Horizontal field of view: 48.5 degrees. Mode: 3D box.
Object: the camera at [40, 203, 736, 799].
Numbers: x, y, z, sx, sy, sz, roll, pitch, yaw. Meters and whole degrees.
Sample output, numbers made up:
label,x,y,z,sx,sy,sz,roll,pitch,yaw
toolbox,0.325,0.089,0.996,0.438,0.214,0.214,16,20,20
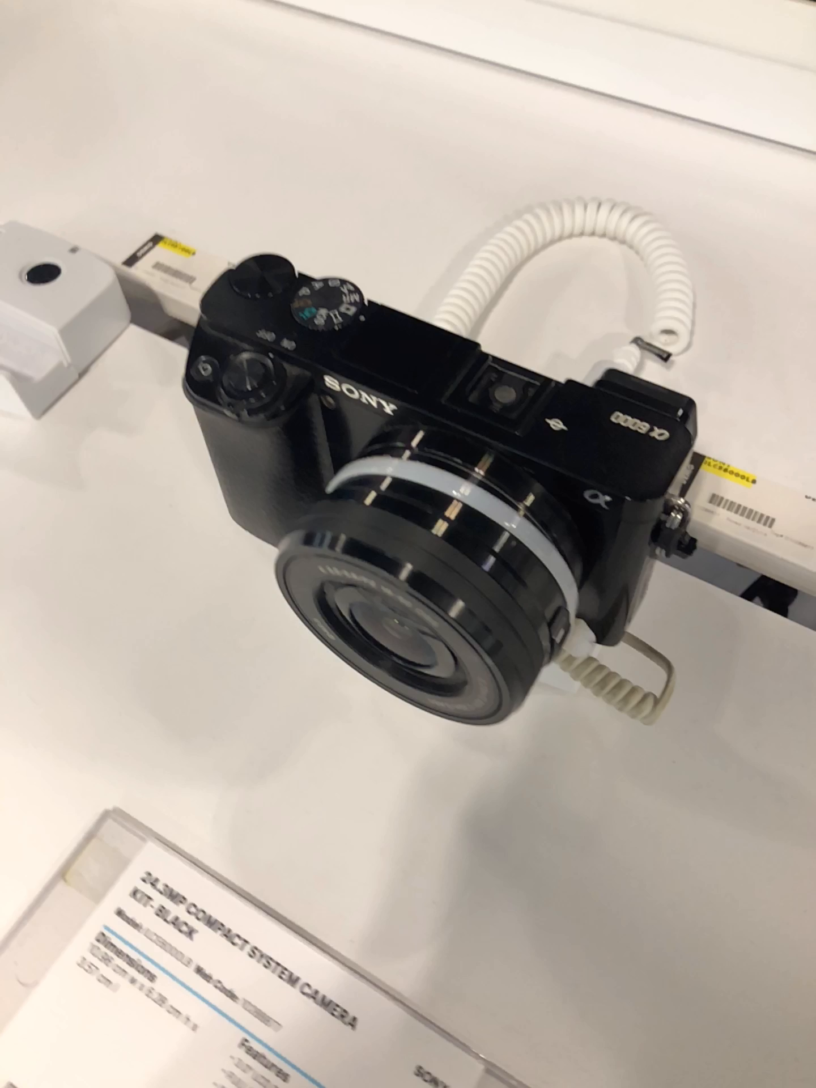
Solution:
label,x,y,z,sx,sy,sz,roll,pitch,yaw
camera,-0.004,-0.012,0.210,0.120,0.070,0.070,25,62,19
